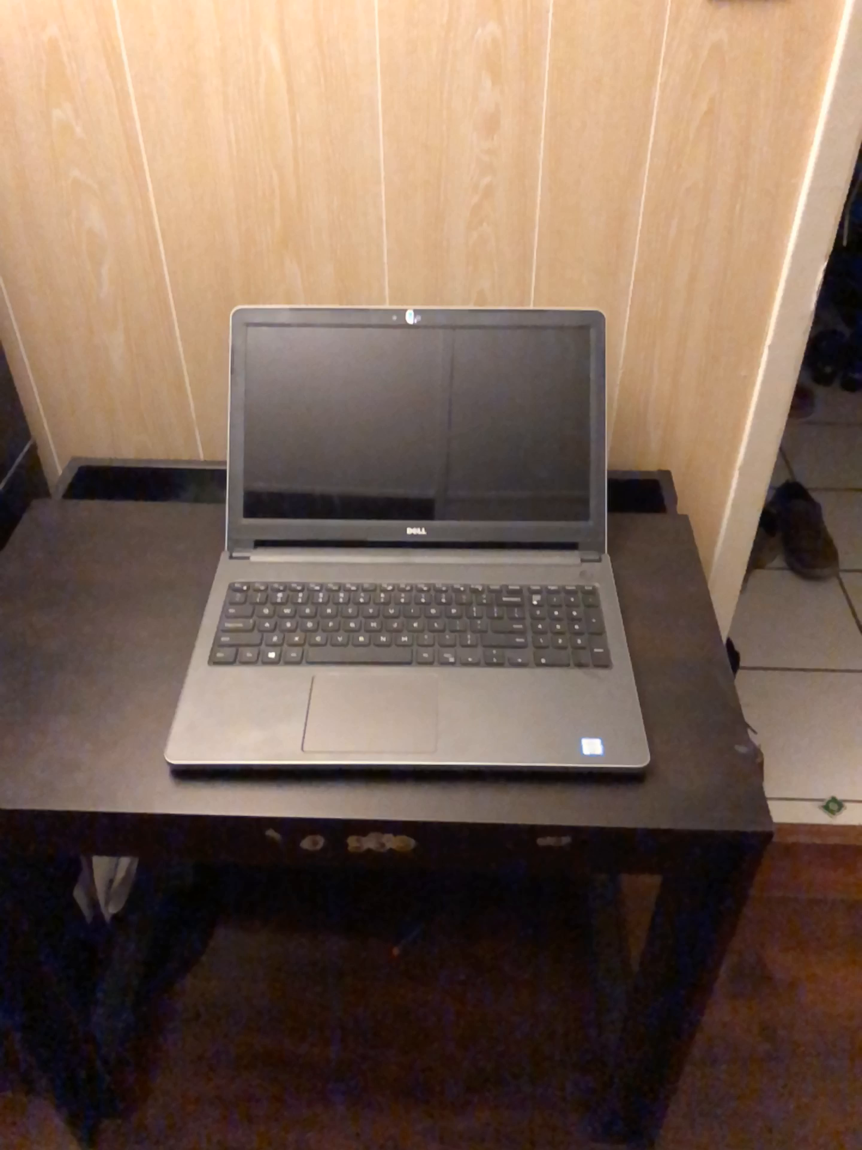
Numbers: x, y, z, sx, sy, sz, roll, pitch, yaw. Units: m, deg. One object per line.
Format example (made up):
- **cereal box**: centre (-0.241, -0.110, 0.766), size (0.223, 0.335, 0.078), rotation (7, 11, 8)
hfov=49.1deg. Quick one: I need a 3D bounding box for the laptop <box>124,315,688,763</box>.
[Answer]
- **laptop**: centre (-0.014, -0.058, 0.834), size (0.367, 0.172, 0.429), rotation (0, 39, 1)
